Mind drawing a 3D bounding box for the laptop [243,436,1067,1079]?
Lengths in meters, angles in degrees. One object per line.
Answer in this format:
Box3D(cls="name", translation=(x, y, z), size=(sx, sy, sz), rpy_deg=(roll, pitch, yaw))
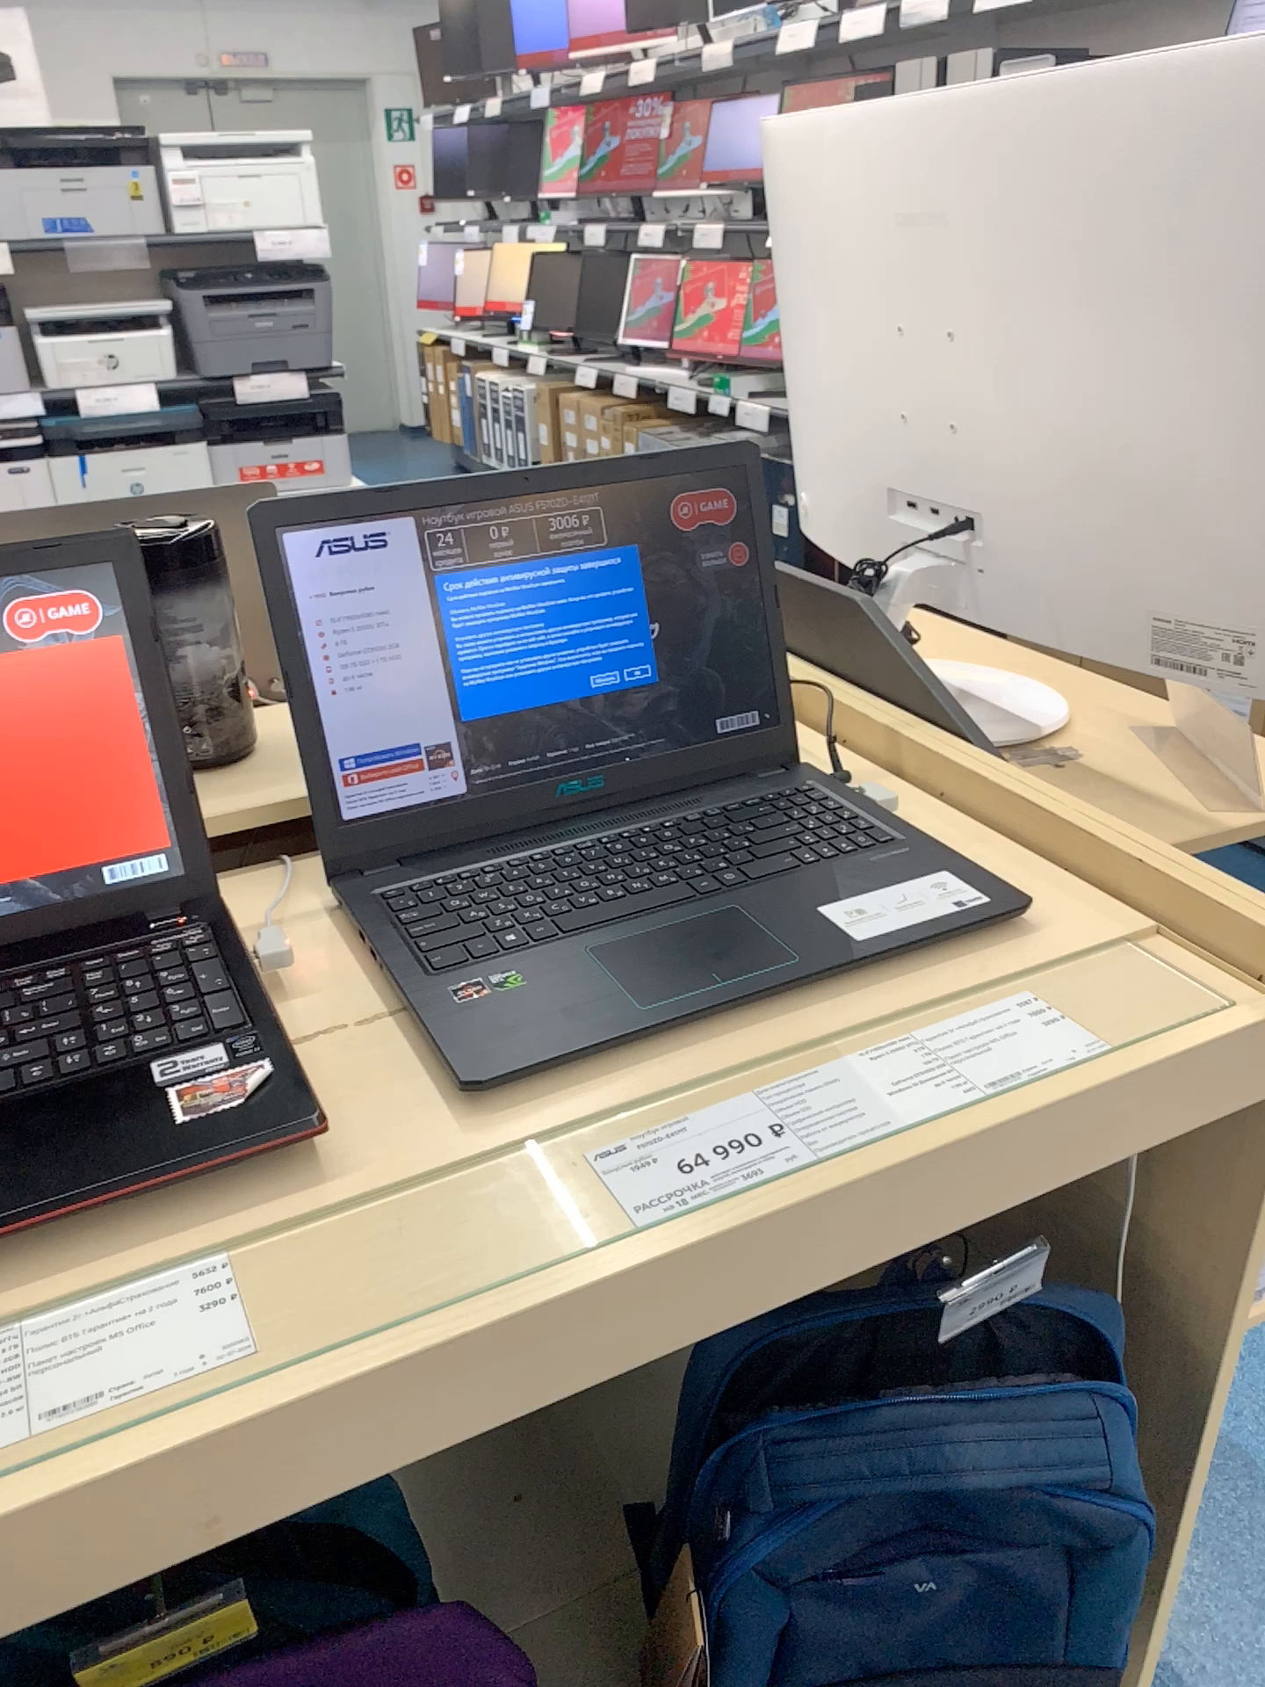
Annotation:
Box3D(cls="laptop", translation=(-0.001, -0.089, 0.787), size=(0.358, 0.222, 0.319), rpy_deg=(-14, 29, -24))
